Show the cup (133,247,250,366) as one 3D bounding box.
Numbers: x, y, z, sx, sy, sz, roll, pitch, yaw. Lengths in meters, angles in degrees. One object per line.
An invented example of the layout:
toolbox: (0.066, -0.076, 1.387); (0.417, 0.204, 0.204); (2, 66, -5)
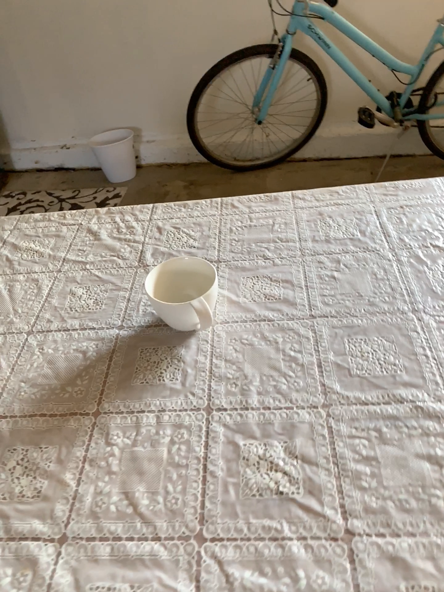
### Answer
cup: (-0.044, 0.009, 0.650); (0.100, 0.070, 0.141); (-29, 46, -20)
